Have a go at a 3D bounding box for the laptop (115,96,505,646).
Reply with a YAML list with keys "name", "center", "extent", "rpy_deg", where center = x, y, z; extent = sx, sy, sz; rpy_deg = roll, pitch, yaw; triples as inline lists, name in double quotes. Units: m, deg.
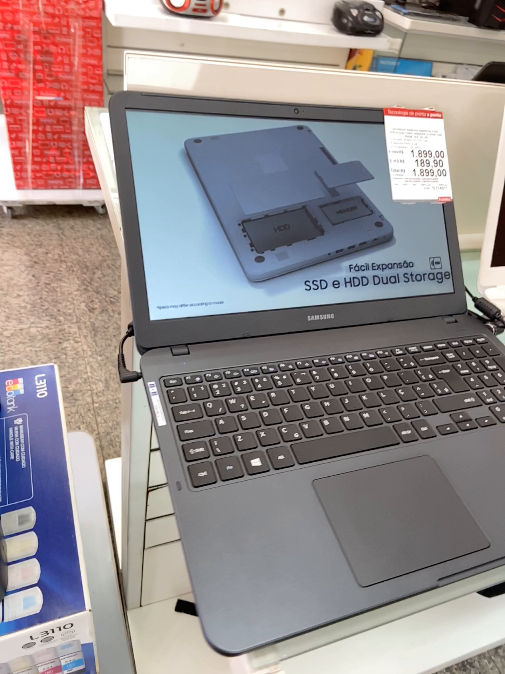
- name: "laptop"
  center: [0.099, -0.044, 0.445]
  extent: [0.367, 0.156, 0.413]
  rpy_deg: [-6, 44, -20]
